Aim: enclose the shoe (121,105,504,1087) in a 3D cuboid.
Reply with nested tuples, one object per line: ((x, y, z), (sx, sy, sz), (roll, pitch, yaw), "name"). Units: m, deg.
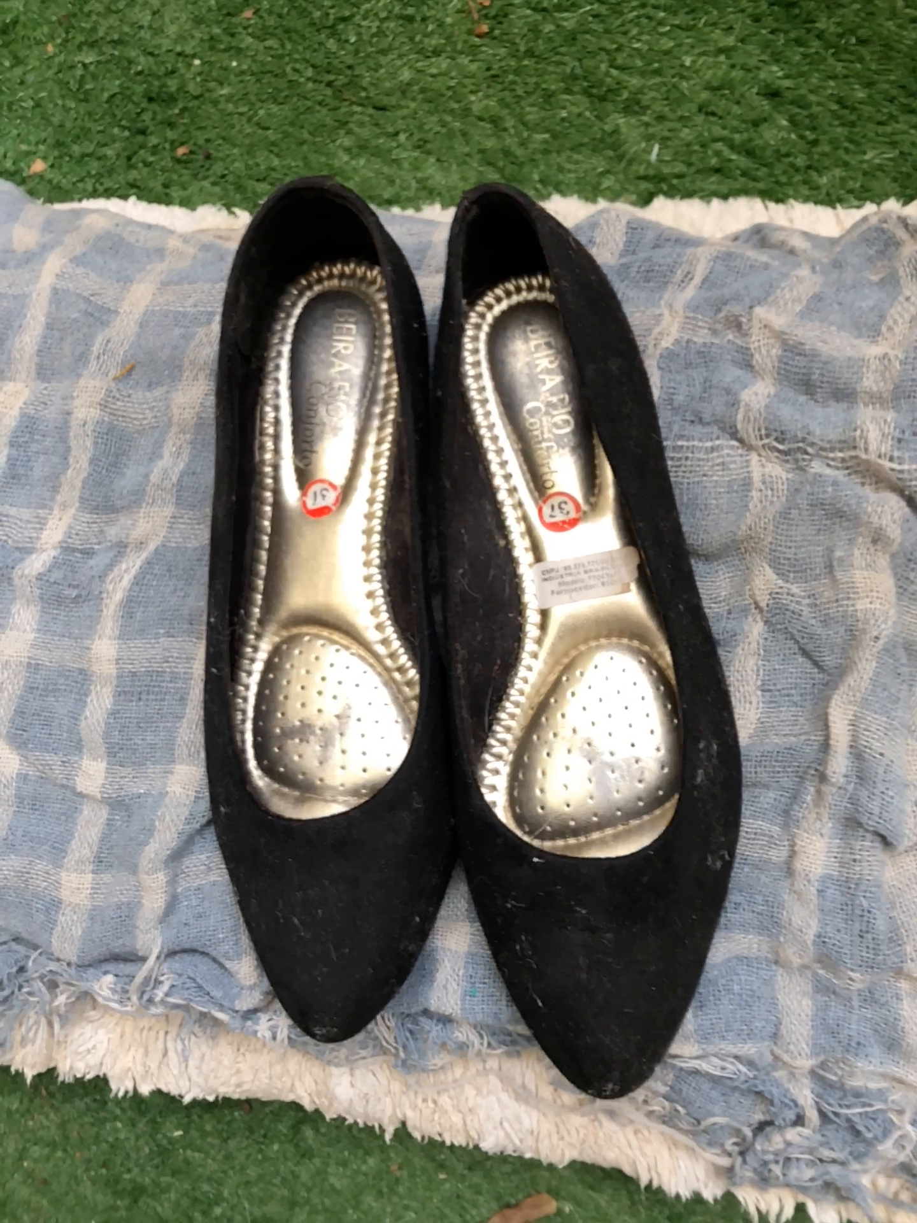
((-0.041, -0.006, 0.324), (0.090, 0.080, 0.270), (-4, 80, 11), "shoe")

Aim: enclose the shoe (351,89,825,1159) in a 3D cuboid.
((0.034, 0.001, 0.303), (0.090, 0.080, 0.270), (-8, 79, 10), "shoe")
